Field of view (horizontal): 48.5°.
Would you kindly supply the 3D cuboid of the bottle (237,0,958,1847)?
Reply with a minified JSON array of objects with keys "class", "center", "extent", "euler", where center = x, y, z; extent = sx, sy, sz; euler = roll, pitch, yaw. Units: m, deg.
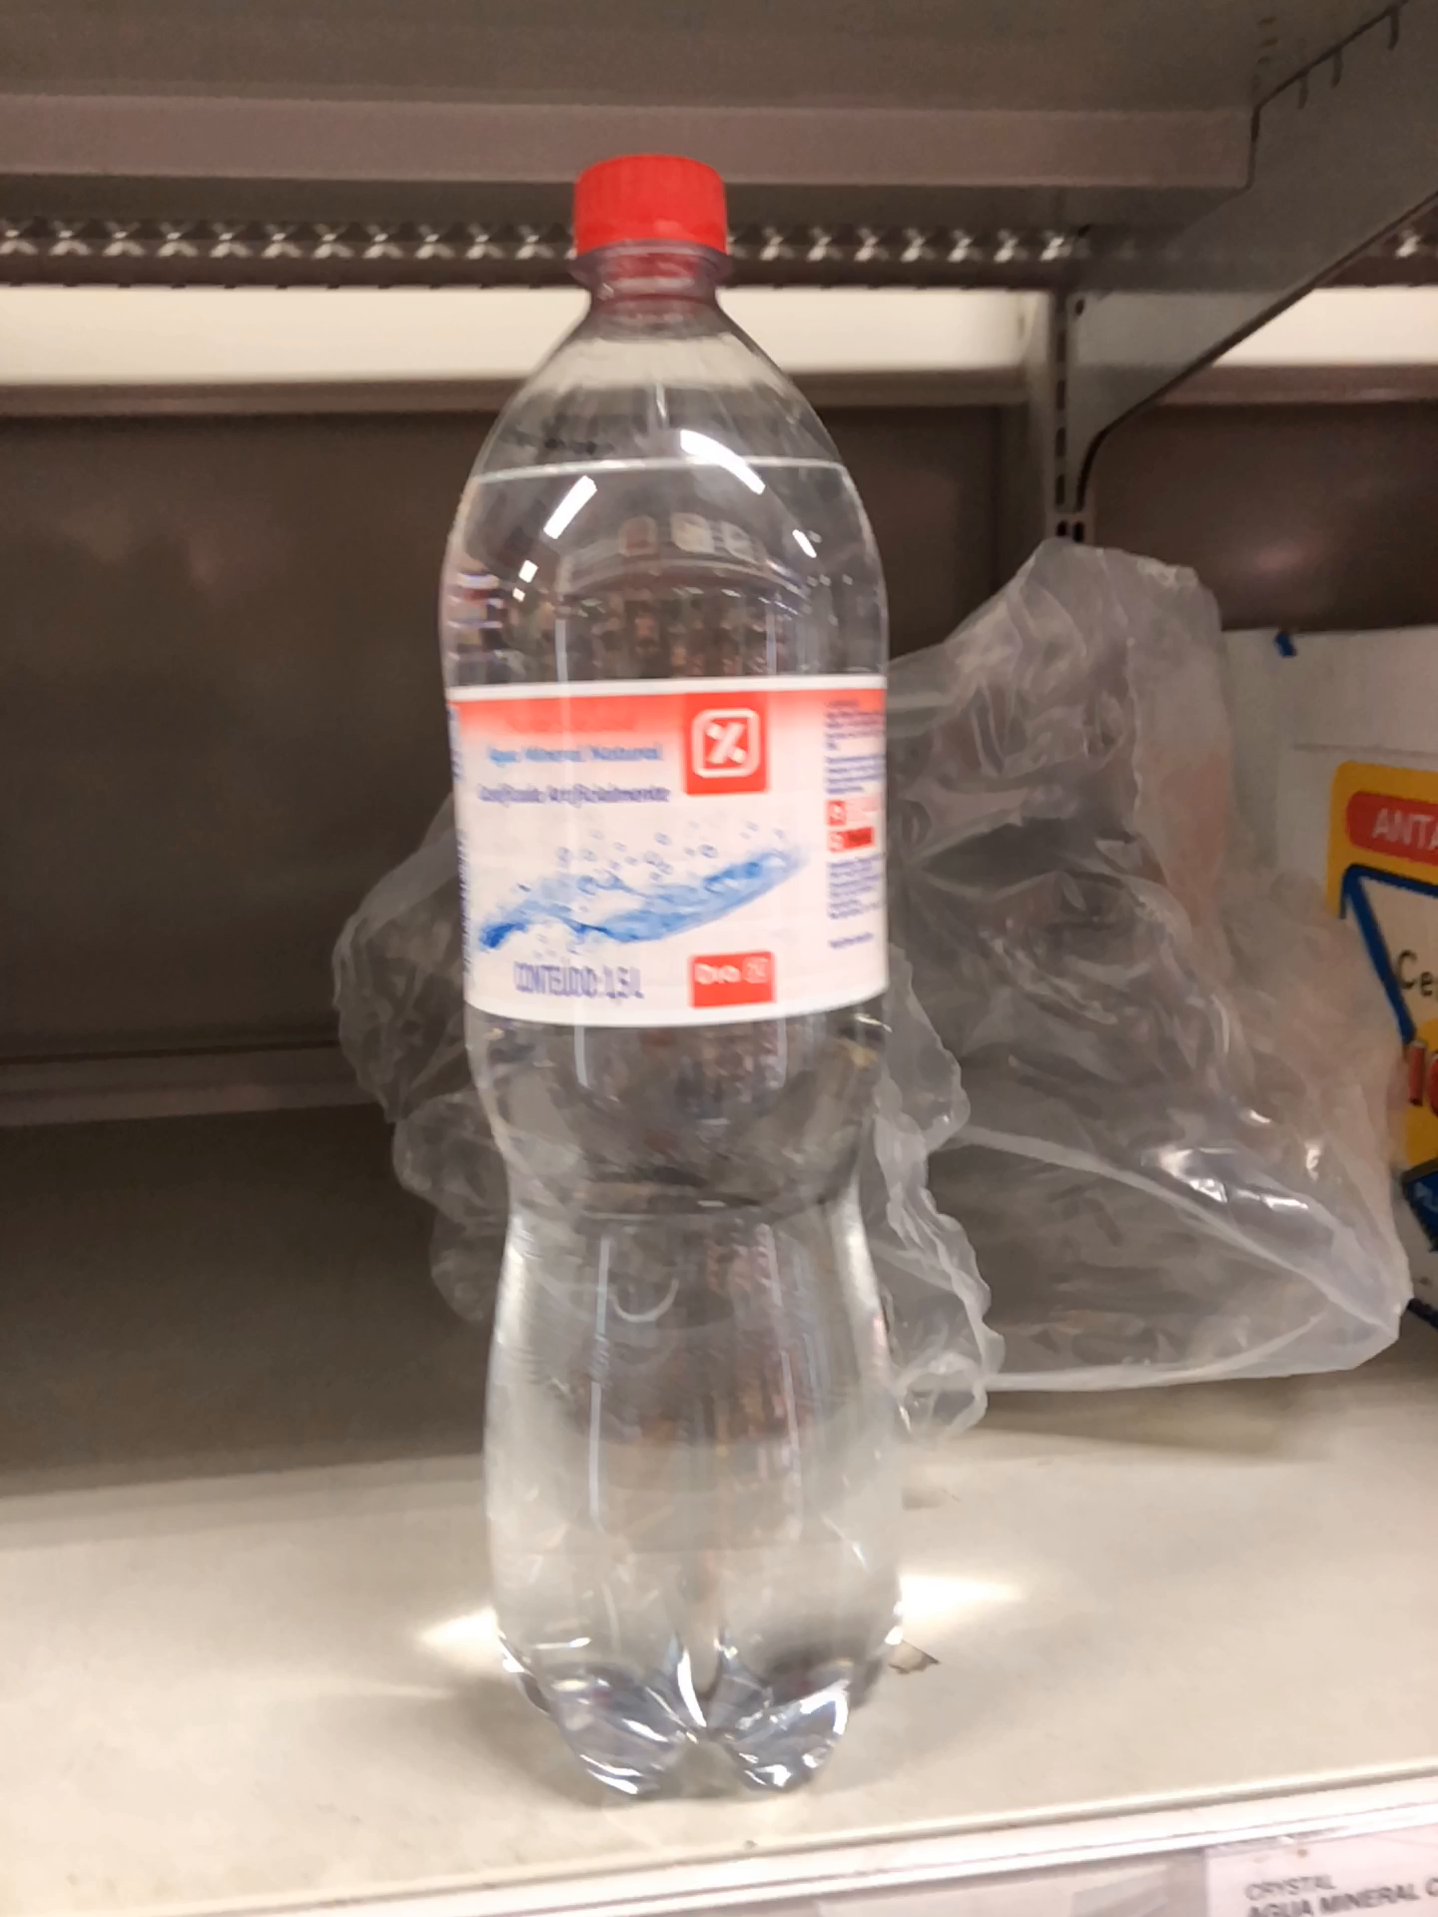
[{"class":"bottle","center":[-0.013,-0.003,0.332],"extent":[0.100,0.319,0.100],"euler":[-2,11,0]}]
